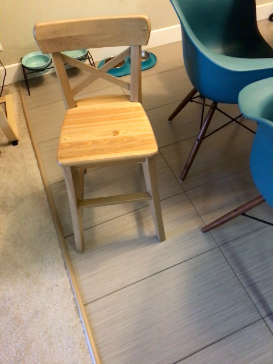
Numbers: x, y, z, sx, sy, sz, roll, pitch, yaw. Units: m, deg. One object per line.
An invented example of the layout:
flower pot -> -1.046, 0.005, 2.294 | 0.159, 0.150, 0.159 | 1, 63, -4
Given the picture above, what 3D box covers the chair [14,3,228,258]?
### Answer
chair -> -0.062, -0.126, 1.026 | 0.440, 0.686, 0.493 | -7, 56, -5
